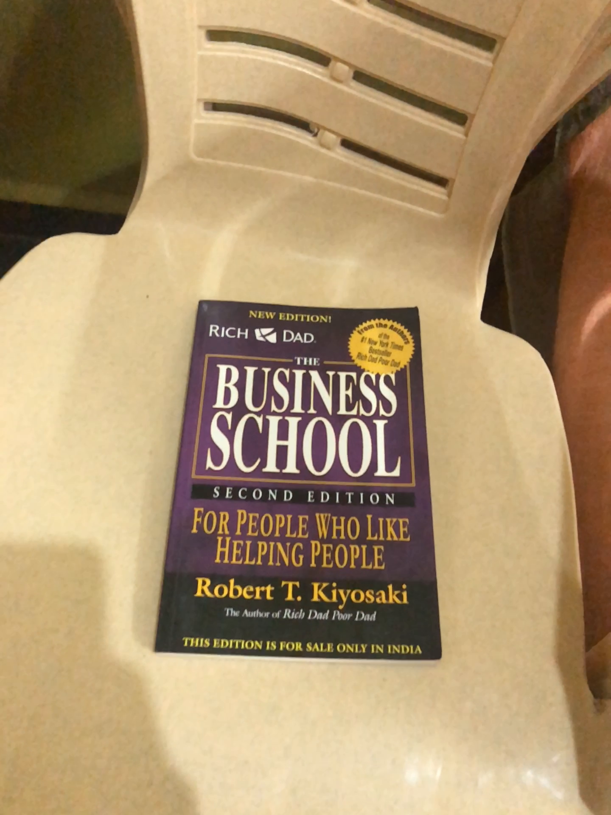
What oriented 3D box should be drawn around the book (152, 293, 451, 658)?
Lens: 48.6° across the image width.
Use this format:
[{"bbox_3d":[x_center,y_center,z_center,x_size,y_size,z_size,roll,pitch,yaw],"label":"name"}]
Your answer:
[{"bbox_3d":[0.001,0.036,0.435,0.170,0.020,0.230,2,69,-2],"label":"book"}]
